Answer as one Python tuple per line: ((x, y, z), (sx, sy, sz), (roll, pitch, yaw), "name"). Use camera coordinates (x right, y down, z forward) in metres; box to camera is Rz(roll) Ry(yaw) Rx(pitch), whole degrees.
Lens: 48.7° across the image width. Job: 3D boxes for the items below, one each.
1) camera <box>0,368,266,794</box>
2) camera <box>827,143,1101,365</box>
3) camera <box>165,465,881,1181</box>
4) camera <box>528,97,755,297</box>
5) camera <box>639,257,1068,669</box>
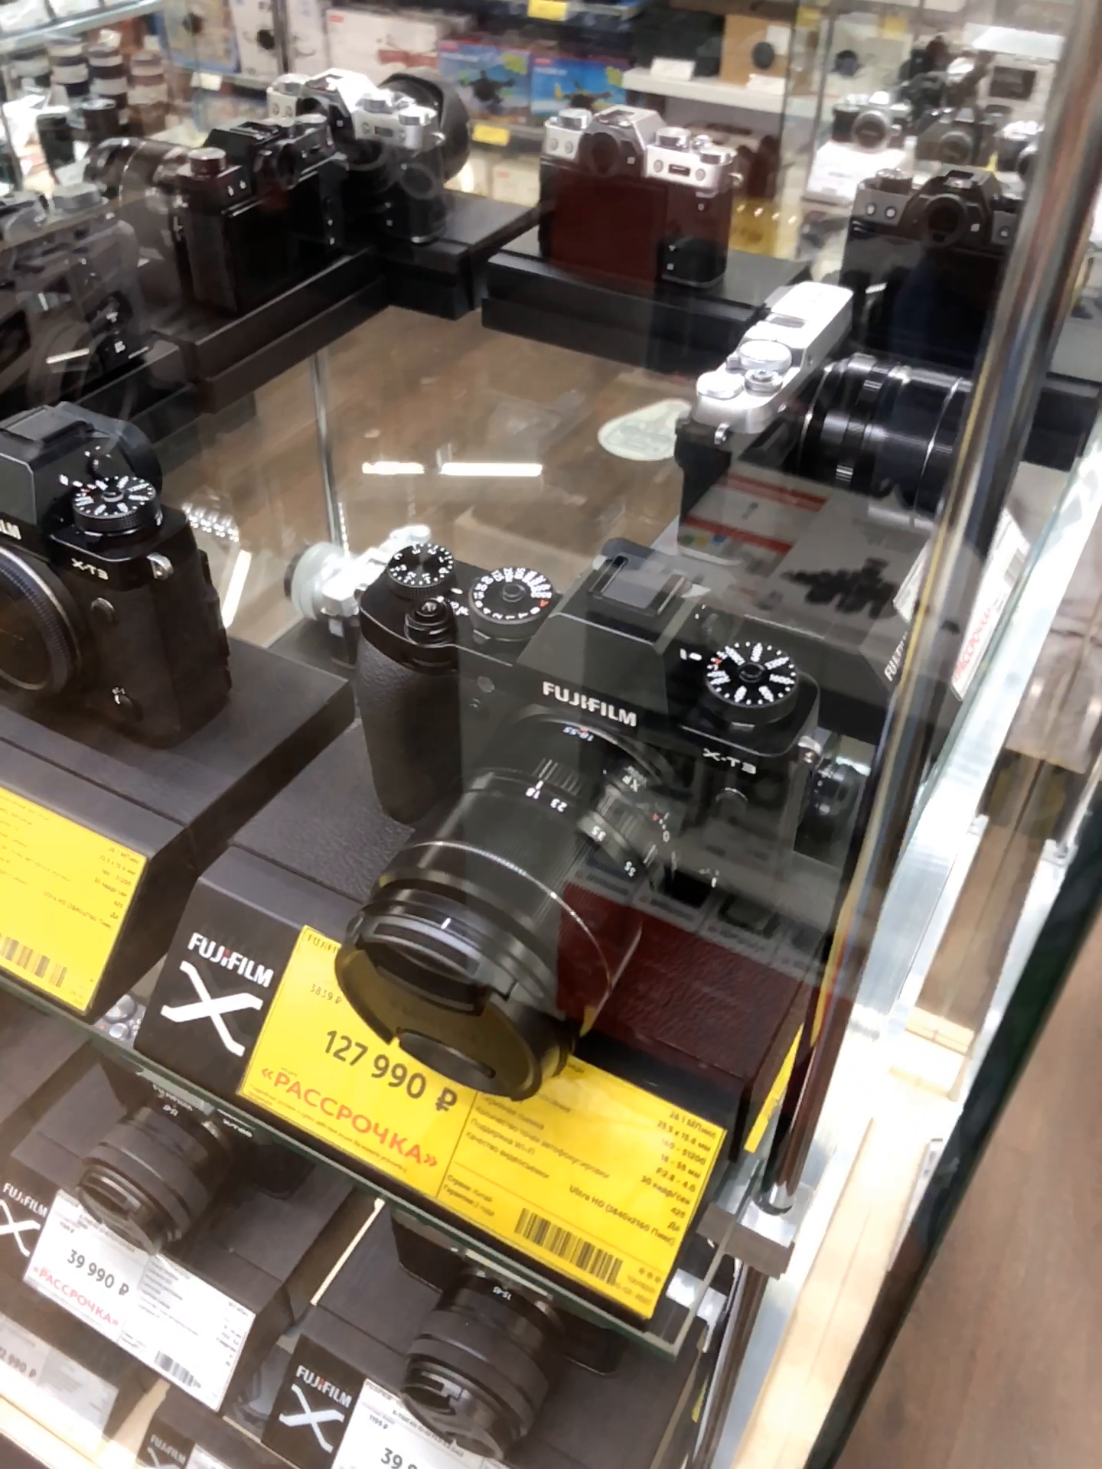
((-0.171, -0.054, 0.402), (0.125, 0.088, 0.066), (20, 45, 21), "camera")
((0.209, -0.247, 0.621), (0.109, 0.074, 0.056), (23, 46, 23), "camera")
((-0.002, 0.015, 0.320), (0.129, 0.099, 0.120), (19, 44, 19), "camera")
((0.048, -0.302, 0.681), (0.109, 0.074, 0.056), (23, 46, 23), "camera")
((0.117, -0.112, 0.476), (0.115, 0.088, 0.126), (21, 45, 22), "camera")
